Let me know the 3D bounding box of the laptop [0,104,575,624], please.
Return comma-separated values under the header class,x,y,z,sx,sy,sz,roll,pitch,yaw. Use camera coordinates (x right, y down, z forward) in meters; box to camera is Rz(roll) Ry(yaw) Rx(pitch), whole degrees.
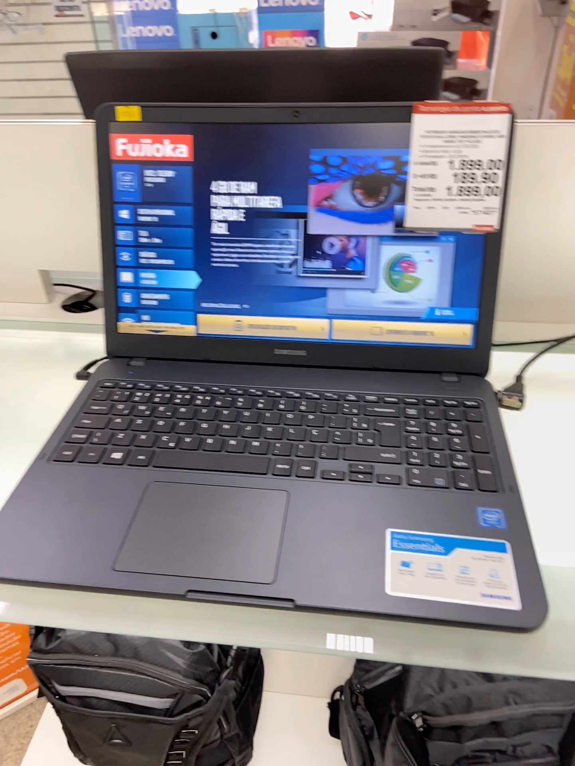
class,x,y,z,sx,sy,sz,roll,pitch,yaw
laptop,-0.012,-0.057,0.444,0.366,0.207,0.348,3,37,7
